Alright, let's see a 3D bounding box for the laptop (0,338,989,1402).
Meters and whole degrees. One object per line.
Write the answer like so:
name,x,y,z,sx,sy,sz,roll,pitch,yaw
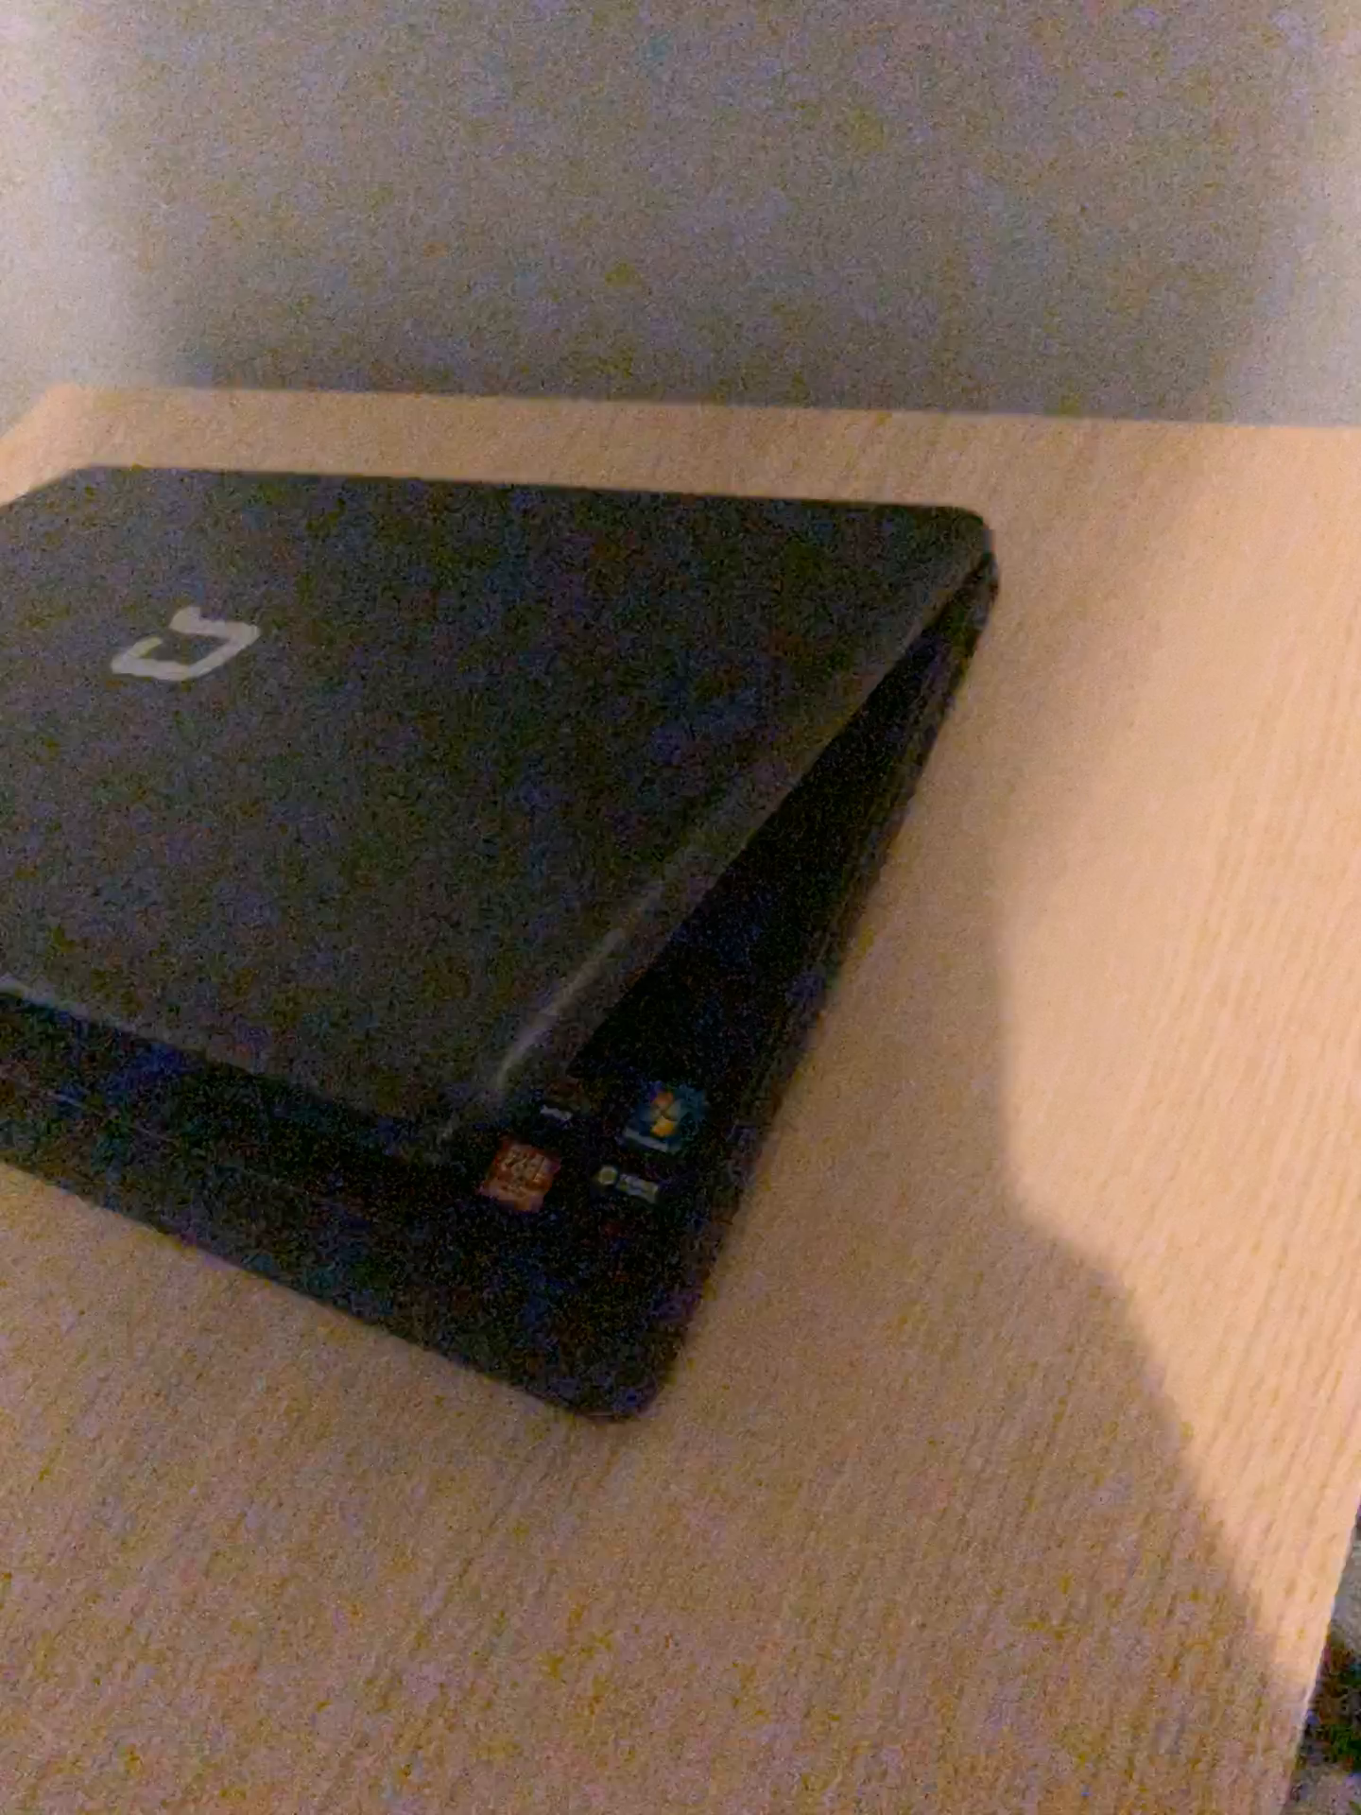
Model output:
laptop,-0.134,-0.047,0.392,0.374,0.064,0.224,12,65,30
